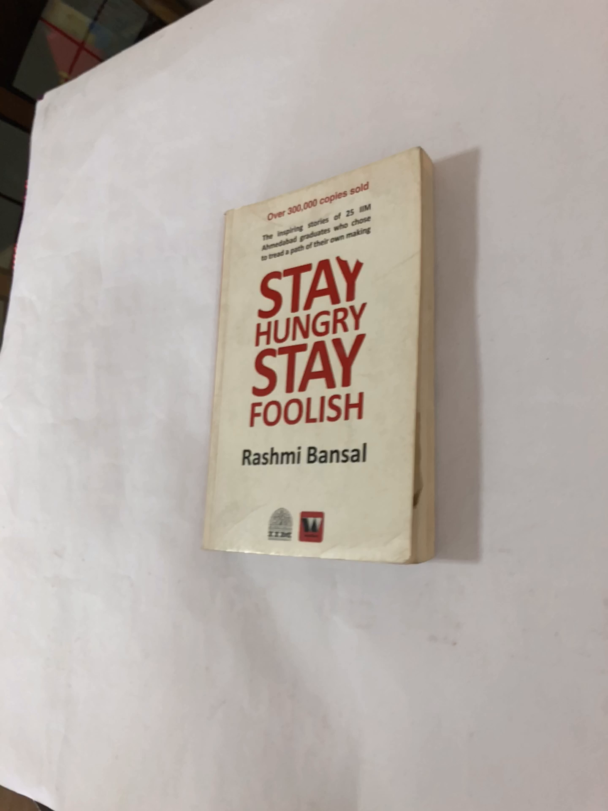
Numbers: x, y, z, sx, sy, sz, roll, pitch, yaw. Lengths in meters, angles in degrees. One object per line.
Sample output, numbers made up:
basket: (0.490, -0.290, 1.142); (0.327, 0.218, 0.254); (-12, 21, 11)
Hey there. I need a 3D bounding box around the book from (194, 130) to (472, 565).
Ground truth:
book: (0.014, -0.022, 0.341); (0.131, 0.040, 0.190); (-6, 75, 36)
